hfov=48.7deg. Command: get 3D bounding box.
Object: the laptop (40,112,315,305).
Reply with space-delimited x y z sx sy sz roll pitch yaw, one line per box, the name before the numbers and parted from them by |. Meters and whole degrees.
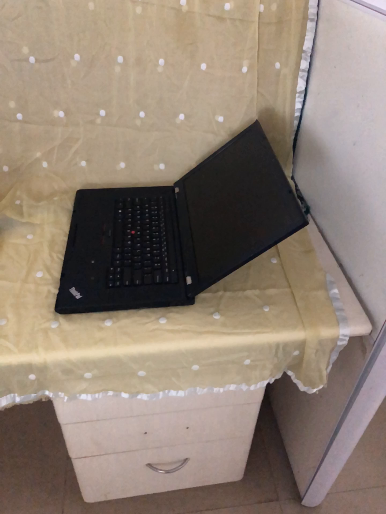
laptop | -0.042 -0.114 0.833 0.424 0.156 0.350 -5 42 -3
